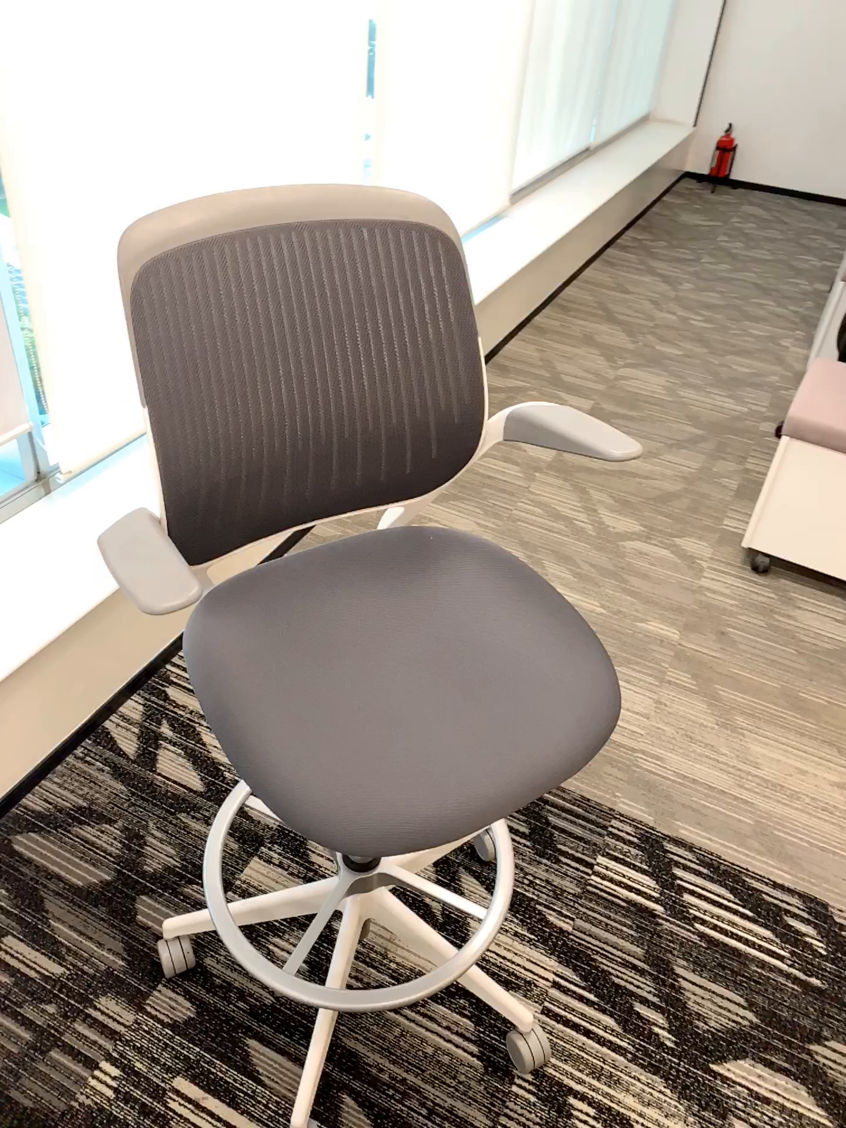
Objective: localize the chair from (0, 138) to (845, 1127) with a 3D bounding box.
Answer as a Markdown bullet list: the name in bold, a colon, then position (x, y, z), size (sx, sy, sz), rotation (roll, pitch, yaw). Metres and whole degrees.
- **chair**: position (-0.086, 0.175, 1.105), size (0.692, 1.140, 0.694), rotation (-16, 43, -25)
